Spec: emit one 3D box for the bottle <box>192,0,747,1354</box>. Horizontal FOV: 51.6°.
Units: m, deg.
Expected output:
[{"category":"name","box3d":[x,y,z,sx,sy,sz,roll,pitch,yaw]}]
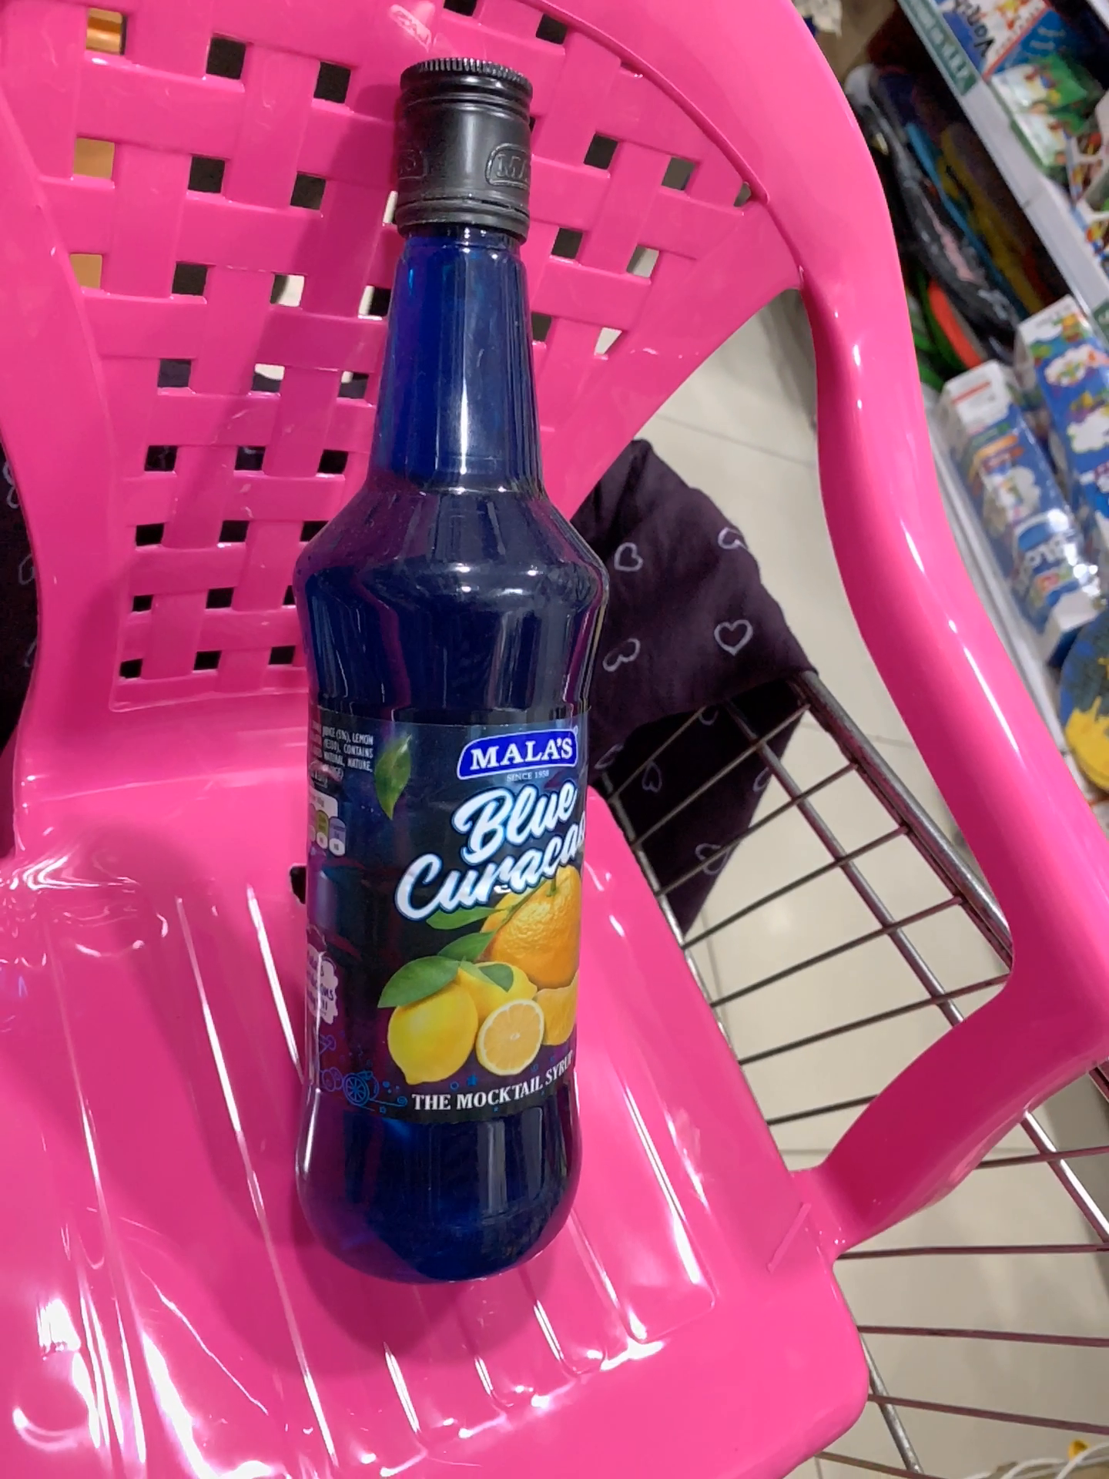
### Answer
[{"category":"bottle","box3d":[-0.028,-0.013,0.264,0.080,0.270,0.080,4,15,-1]}]
